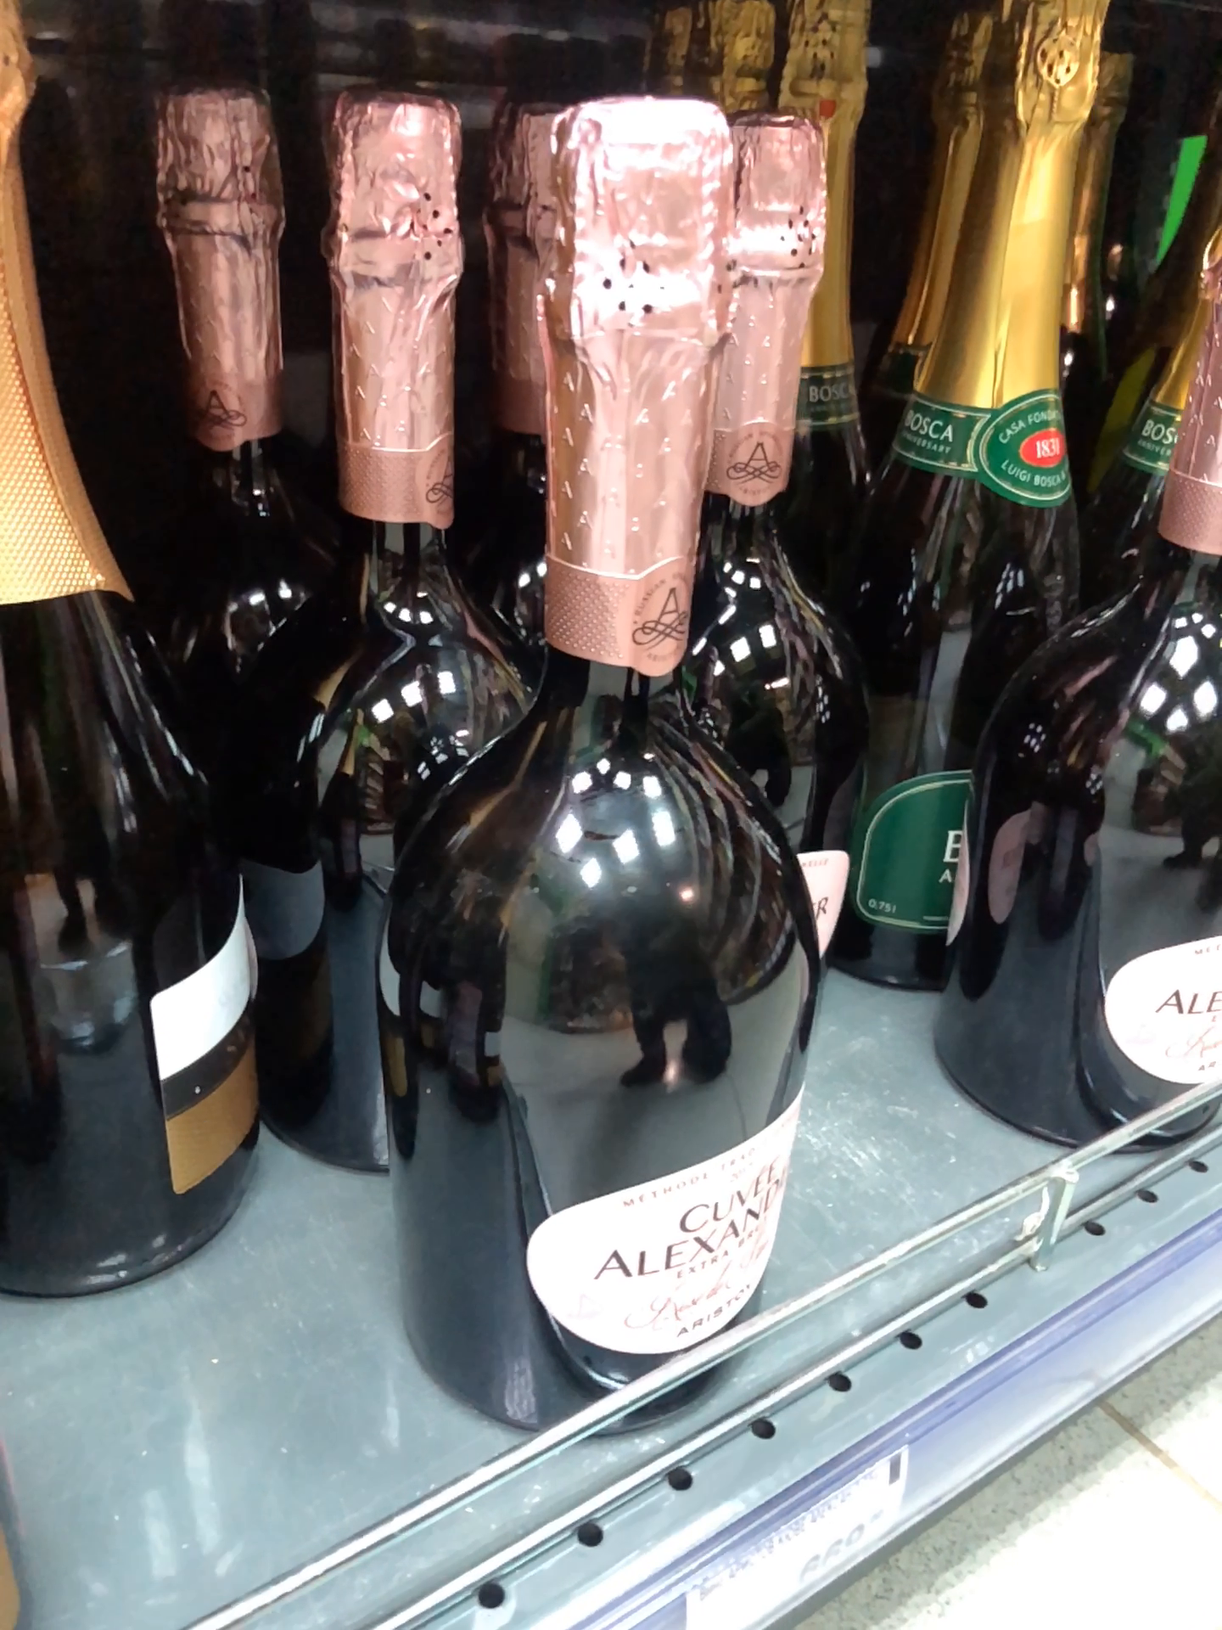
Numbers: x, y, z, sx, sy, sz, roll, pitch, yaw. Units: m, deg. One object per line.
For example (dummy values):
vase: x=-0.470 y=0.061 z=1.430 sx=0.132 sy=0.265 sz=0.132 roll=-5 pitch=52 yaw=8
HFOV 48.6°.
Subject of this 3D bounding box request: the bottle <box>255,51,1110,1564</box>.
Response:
bottle: x=0.006 y=0.002 z=0.286 sx=0.110 sy=0.278 sz=0.090 roll=-18 pitch=34 yaw=-36
